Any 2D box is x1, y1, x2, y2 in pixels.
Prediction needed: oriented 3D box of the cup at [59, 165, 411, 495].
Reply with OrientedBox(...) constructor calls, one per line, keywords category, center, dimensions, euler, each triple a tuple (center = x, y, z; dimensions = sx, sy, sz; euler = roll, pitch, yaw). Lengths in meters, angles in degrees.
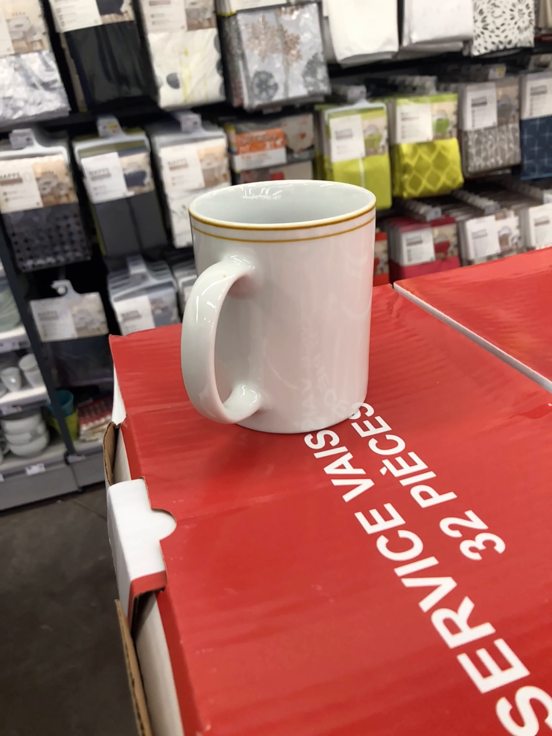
OrientedBox(category="cup", center=(-0.007, -0.028, 0.272), dimensions=(0.096, 0.091, 0.116), euler=(12, 35, 29))
